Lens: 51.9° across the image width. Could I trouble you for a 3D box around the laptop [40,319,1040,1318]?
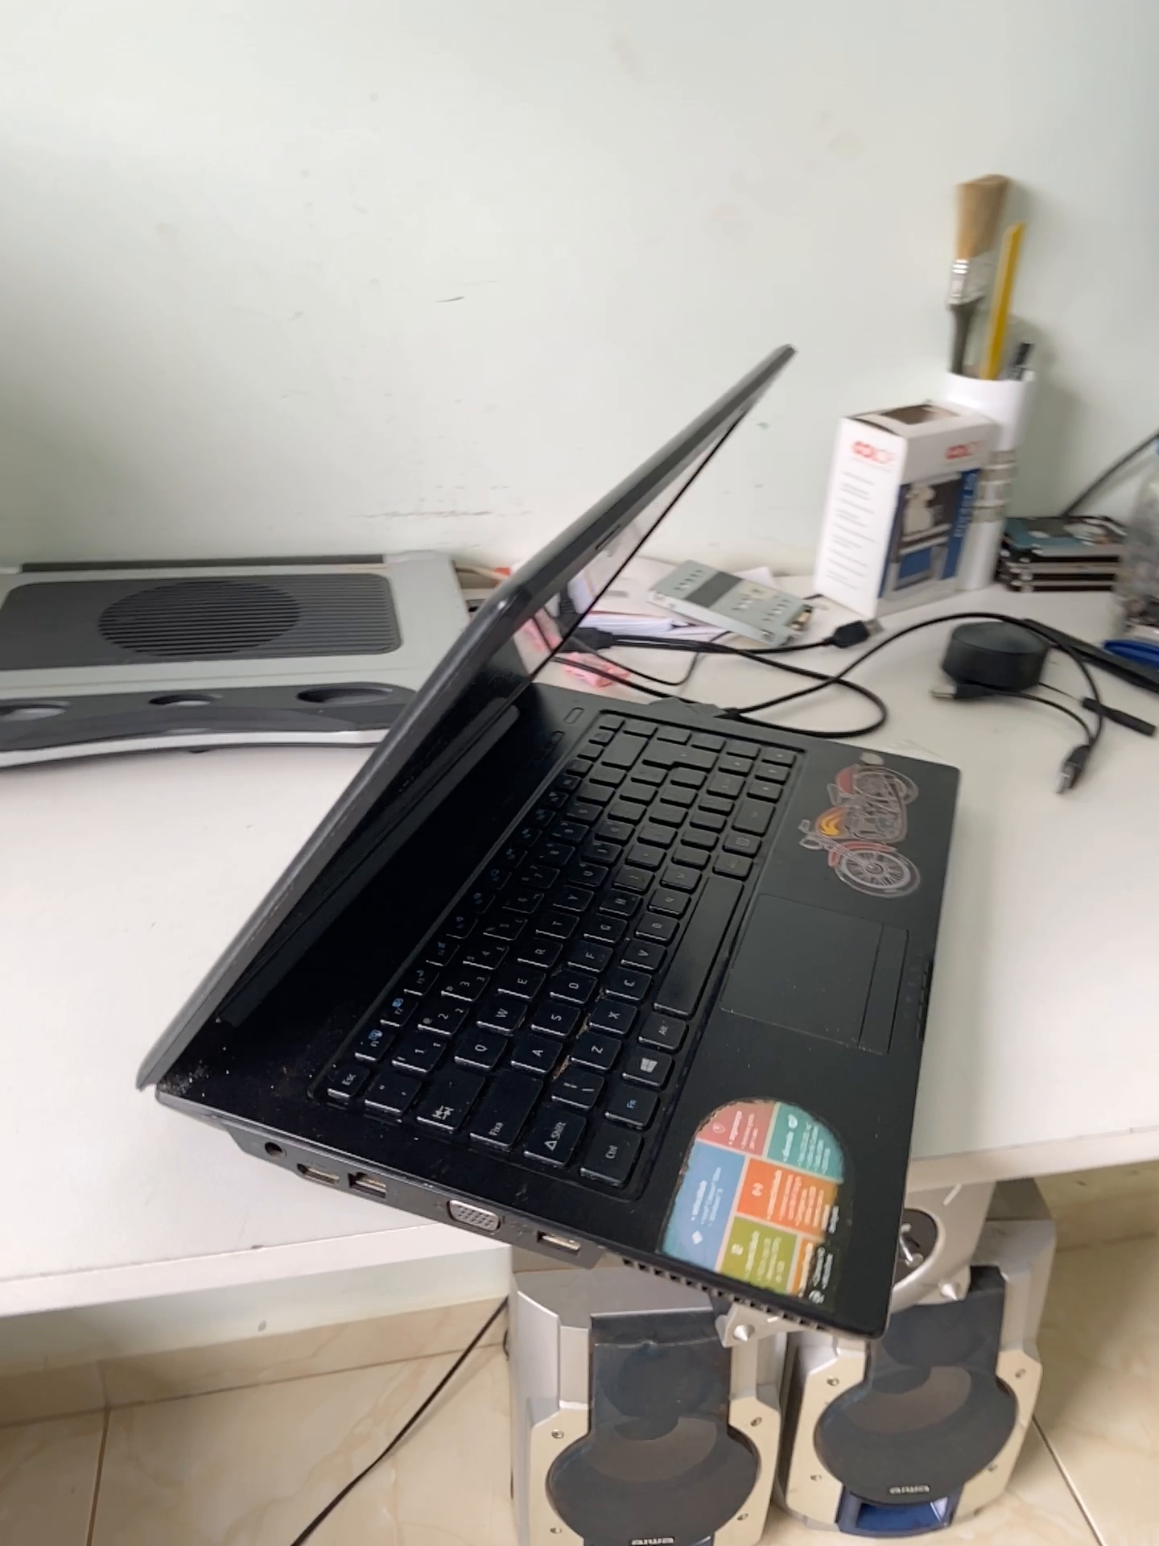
[{"bbox_3d":[0.029,-0.034,0.446,0.233,0.189,0.332,12,31,16],"label":"laptop"}]
